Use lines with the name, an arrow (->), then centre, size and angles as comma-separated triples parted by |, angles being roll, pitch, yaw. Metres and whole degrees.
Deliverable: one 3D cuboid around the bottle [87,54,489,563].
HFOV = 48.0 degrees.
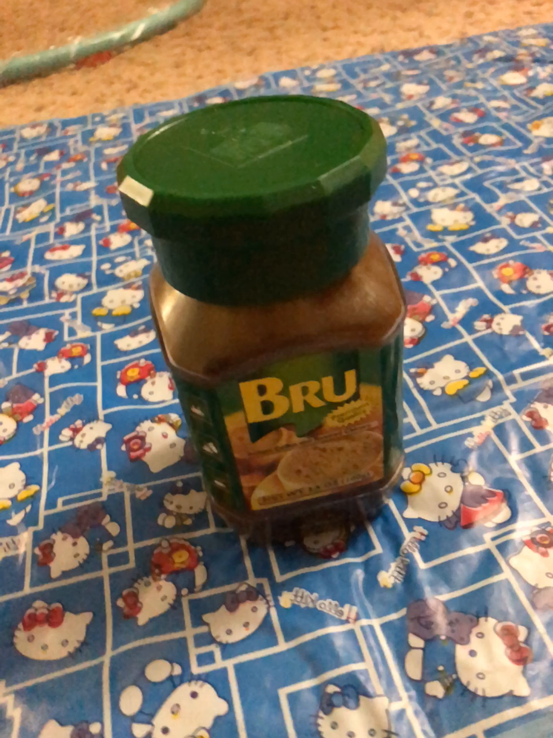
bottle -> 0.004, -0.013, 0.186 | 0.080, 0.120, 0.070 | -12, 42, -3
